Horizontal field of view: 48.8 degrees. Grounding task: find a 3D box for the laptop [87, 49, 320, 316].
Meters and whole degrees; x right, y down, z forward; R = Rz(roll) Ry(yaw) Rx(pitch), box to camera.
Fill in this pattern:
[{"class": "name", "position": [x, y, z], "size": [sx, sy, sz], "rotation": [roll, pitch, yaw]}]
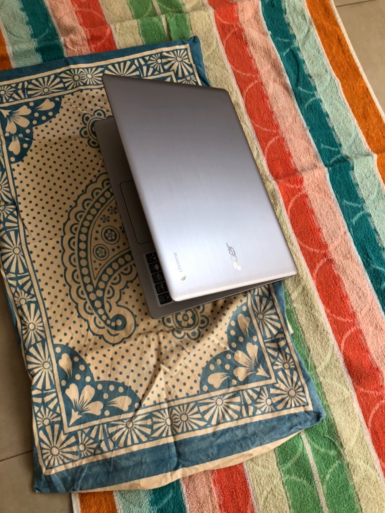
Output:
[{"class": "laptop", "position": [0.005, -0.107, 0.609], "size": [0.222, 0.105, 0.320], "rotation": [-16, 76, -8]}]
